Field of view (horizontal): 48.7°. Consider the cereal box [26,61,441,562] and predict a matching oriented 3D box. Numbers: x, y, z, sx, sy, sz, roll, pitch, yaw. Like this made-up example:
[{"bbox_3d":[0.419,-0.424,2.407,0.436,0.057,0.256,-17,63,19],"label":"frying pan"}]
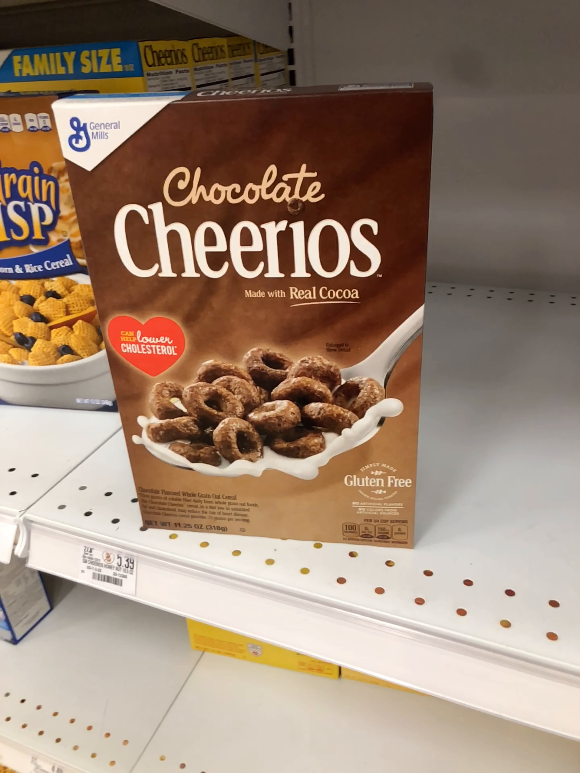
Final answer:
[{"bbox_3d":[-0.015,-0.028,0.394,0.200,0.289,0.060,2,31,12],"label":"cereal box"}]
